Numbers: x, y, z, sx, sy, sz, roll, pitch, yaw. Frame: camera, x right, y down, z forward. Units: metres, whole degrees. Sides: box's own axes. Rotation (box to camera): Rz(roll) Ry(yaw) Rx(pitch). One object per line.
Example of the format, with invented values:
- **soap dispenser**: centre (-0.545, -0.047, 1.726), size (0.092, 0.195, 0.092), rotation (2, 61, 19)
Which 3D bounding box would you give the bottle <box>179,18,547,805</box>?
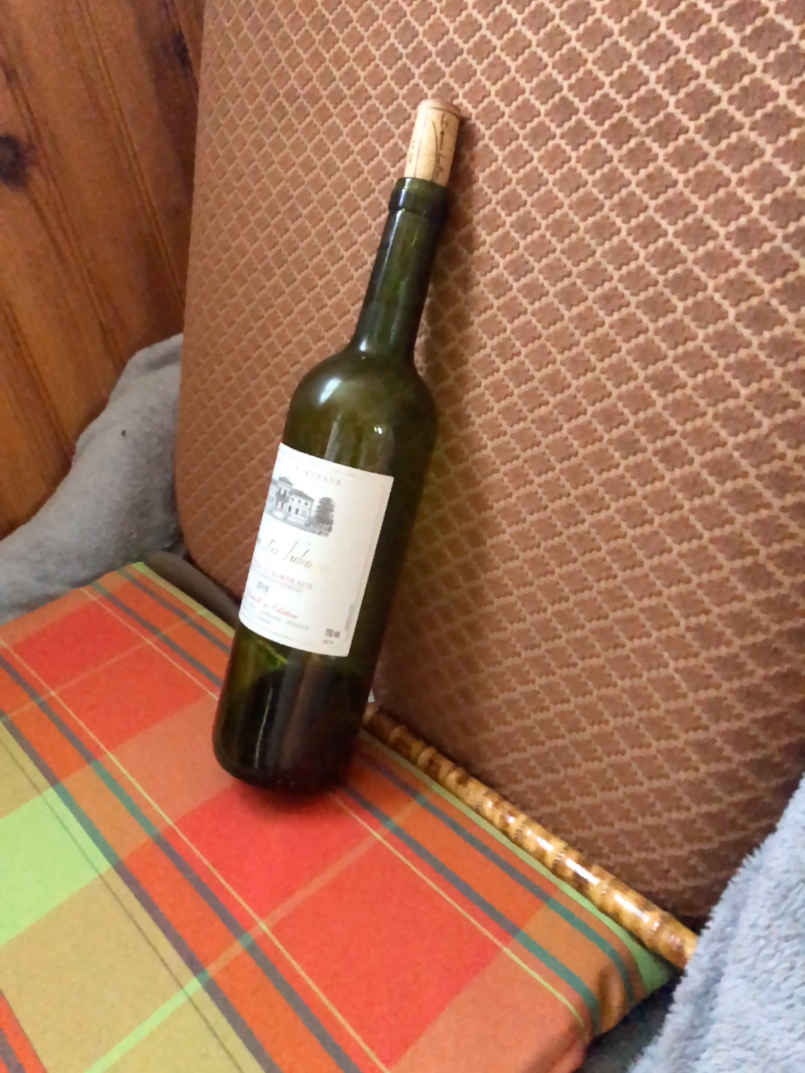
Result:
- **bottle**: centre (-0.027, -0.049, 0.428), size (0.070, 0.339, 0.080), rotation (7, 11, -37)
